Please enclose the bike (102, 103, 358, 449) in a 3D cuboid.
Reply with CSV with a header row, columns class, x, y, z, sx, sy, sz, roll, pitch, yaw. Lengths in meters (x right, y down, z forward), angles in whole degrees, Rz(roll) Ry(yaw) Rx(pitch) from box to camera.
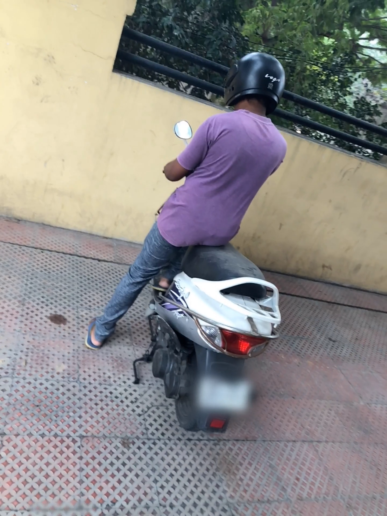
class,x,y,z,sx,sy,sz,roll,pitch,yaw
bike,-0.020,-0.034,2.243,0.643,0.949,1.508,12,29,-21
